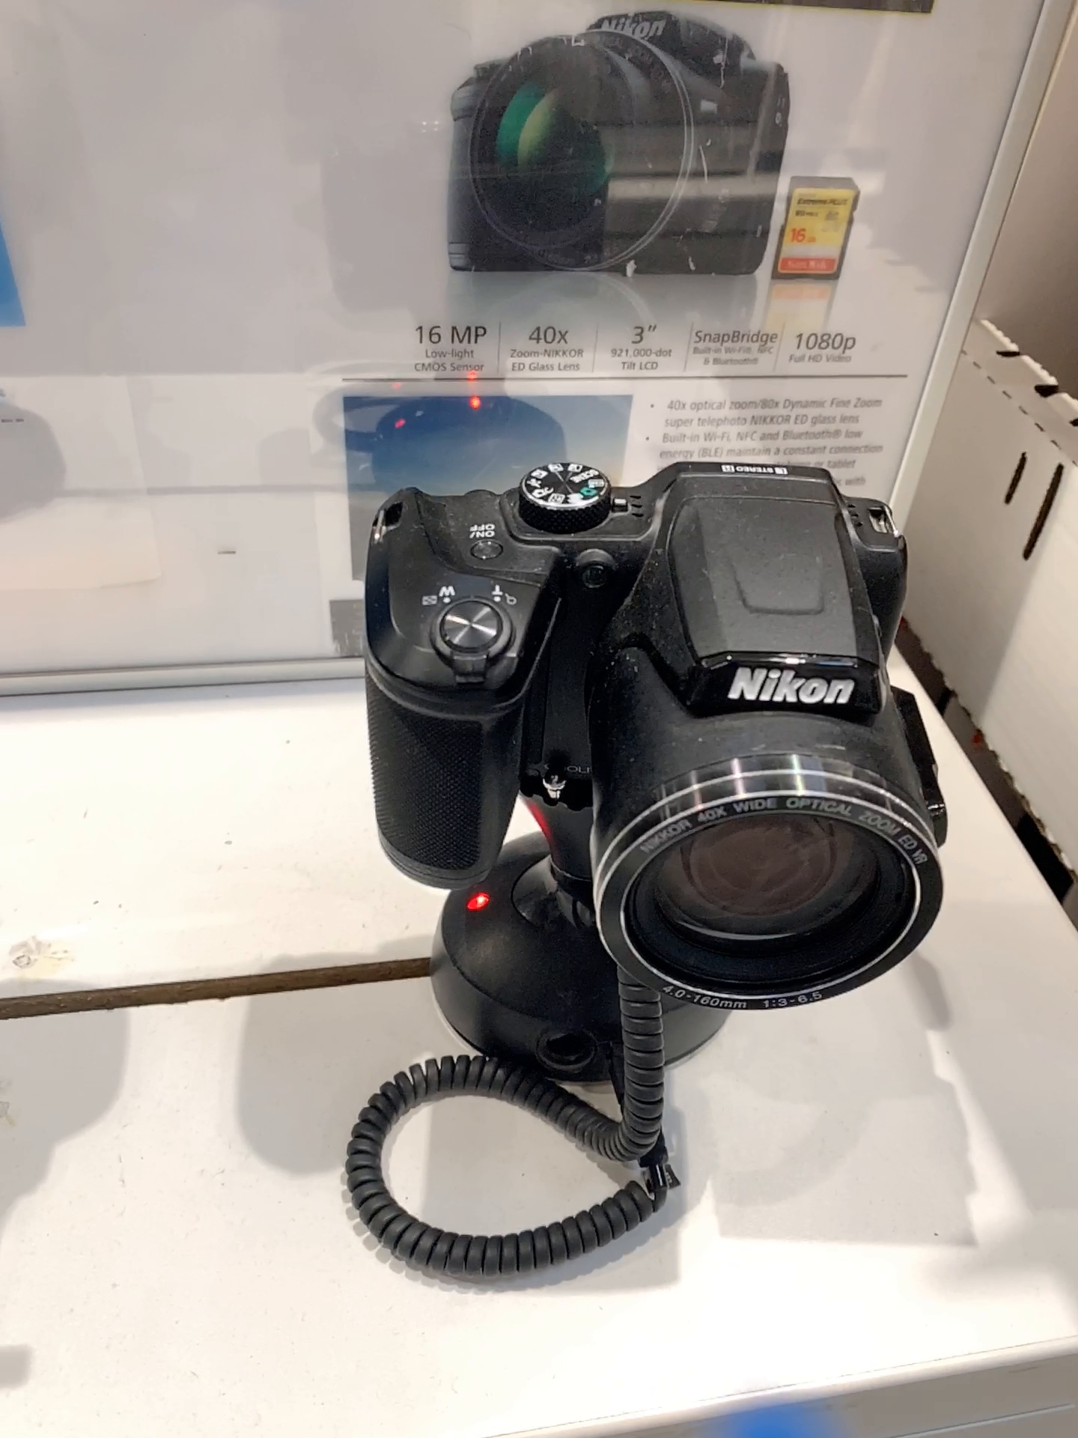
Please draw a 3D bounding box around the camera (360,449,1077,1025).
[{"bbox_3d":[0.024,0.005,0.213,0.110,0.089,0.061,0,41,-6],"label":"camera"}]
